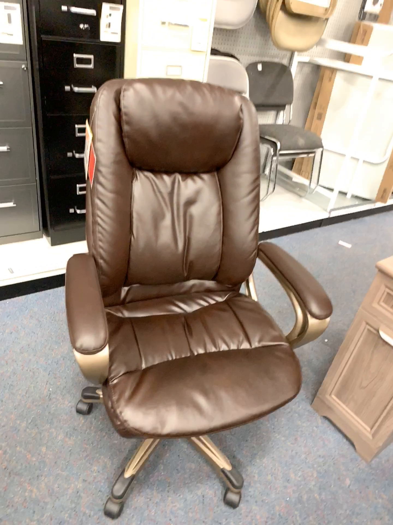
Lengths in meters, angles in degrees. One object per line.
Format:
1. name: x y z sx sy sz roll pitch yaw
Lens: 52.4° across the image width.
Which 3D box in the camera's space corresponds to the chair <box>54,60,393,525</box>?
1. chair: -0.024 0.103 1.235 0.724 1.112 0.815 -3 35 -19
